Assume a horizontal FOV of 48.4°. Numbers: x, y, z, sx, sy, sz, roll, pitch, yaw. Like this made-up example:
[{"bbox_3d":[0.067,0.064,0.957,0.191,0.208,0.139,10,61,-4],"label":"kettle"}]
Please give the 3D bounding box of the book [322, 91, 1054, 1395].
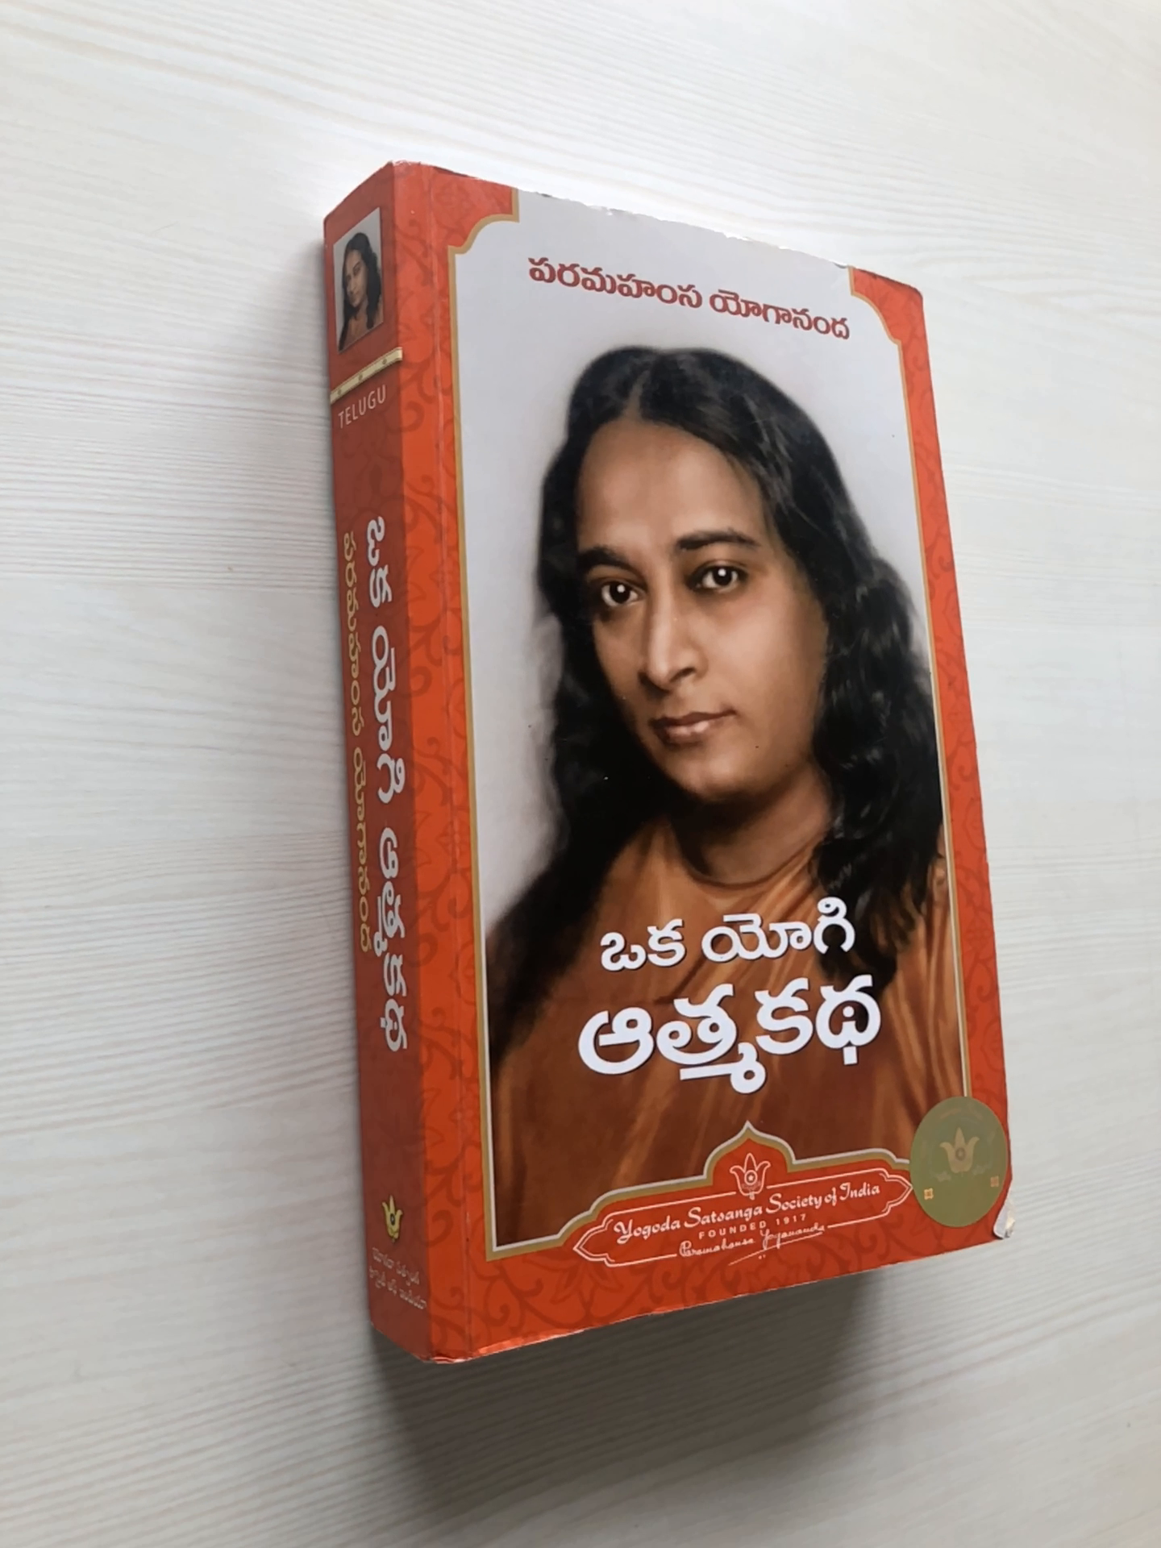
[{"bbox_3d":[0.026,-0.009,0.283,0.150,0.040,0.233,0,84,-29],"label":"book"}]
